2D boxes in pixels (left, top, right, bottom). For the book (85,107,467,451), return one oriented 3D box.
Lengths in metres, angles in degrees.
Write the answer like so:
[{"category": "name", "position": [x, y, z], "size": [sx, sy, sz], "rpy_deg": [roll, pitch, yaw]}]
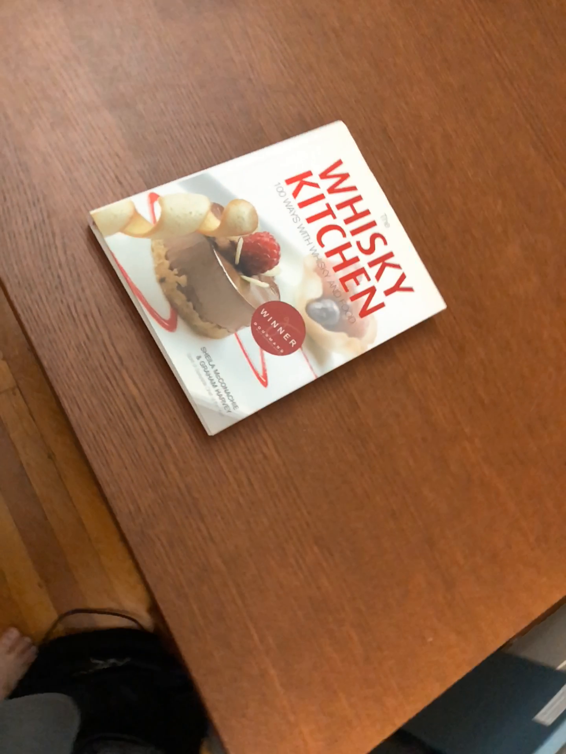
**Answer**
[{"category": "book", "position": [0.002, -0.098, 0.554], "size": [0.271, 0.040, 0.220], "rpy_deg": [-28, 87, -22]}]
